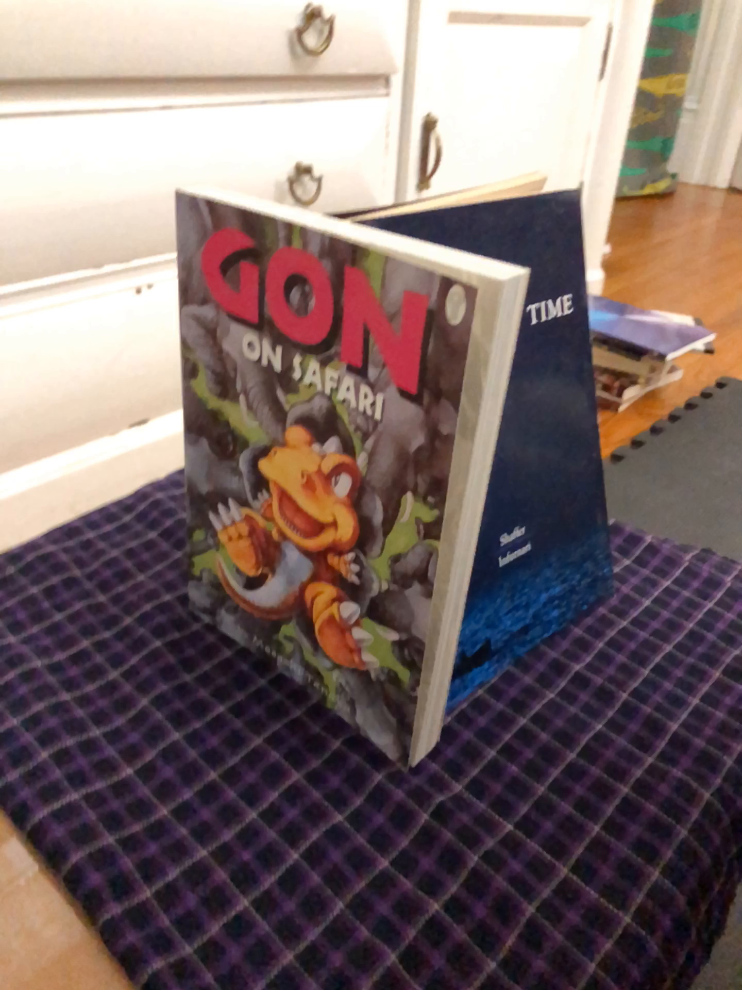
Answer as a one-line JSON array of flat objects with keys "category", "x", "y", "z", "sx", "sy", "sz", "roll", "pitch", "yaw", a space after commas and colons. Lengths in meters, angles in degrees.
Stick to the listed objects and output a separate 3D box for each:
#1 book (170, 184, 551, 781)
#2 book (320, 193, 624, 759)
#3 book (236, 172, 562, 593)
[{"category": "book", "x": -0.020, "y": -0.006, "z": 0.310, "sx": 0.140, "sy": 0.189, "sz": 0.020, "roll": 25, "pitch": 30, "yaw": 31}, {"category": "book", "x": 0.056, "y": -0.016, "z": 0.347, "sx": 0.010, "sy": 0.199, "sz": 0.151, "roll": 5, "pitch": 23, "yaw": 44}, {"category": "book", "x": 0.009, "y": -0.049, "z": 0.392, "sx": 0.010, "sy": 0.199, "sz": 0.141, "roll": 41, "pitch": 45, "yaw": 19}]
